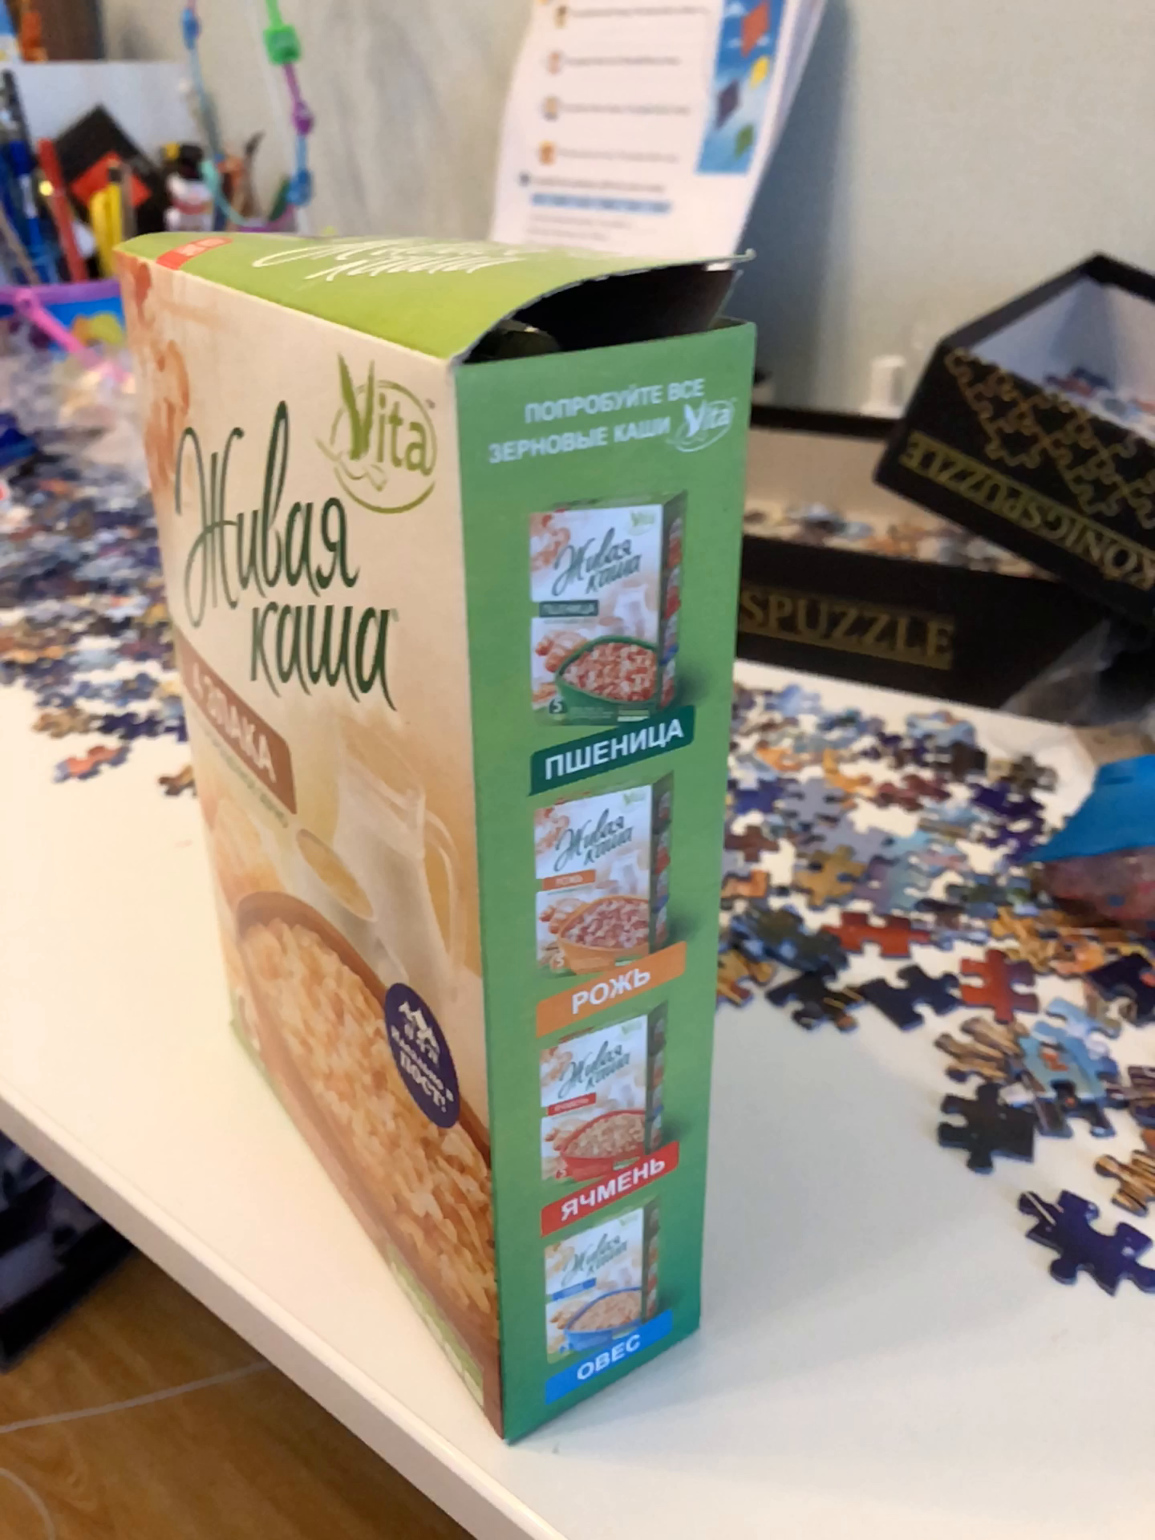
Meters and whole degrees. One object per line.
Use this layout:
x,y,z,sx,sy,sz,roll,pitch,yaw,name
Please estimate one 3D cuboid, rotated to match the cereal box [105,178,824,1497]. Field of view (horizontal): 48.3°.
-0.028,0.005,0.249,0.050,0.209,0.141,-17,32,-29,cereal box
